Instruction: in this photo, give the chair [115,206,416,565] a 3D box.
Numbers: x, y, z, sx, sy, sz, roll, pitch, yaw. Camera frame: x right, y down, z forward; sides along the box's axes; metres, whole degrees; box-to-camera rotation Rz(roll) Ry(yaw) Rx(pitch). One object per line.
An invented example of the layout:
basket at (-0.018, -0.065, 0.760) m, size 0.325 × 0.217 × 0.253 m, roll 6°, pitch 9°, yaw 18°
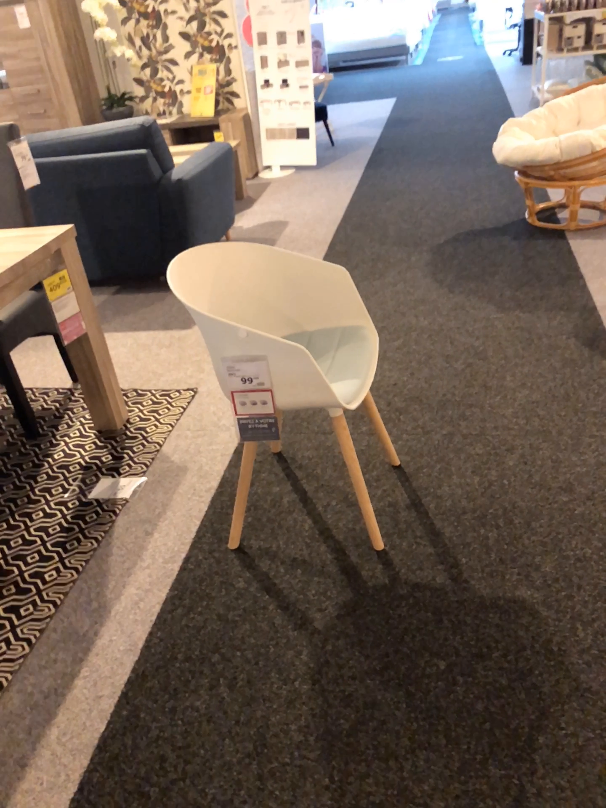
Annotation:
chair at (-0.026, -0.066, 1.819) m, size 0.579 × 0.766 × 0.554 m, roll 2°, pitch 32°, yaw 16°
